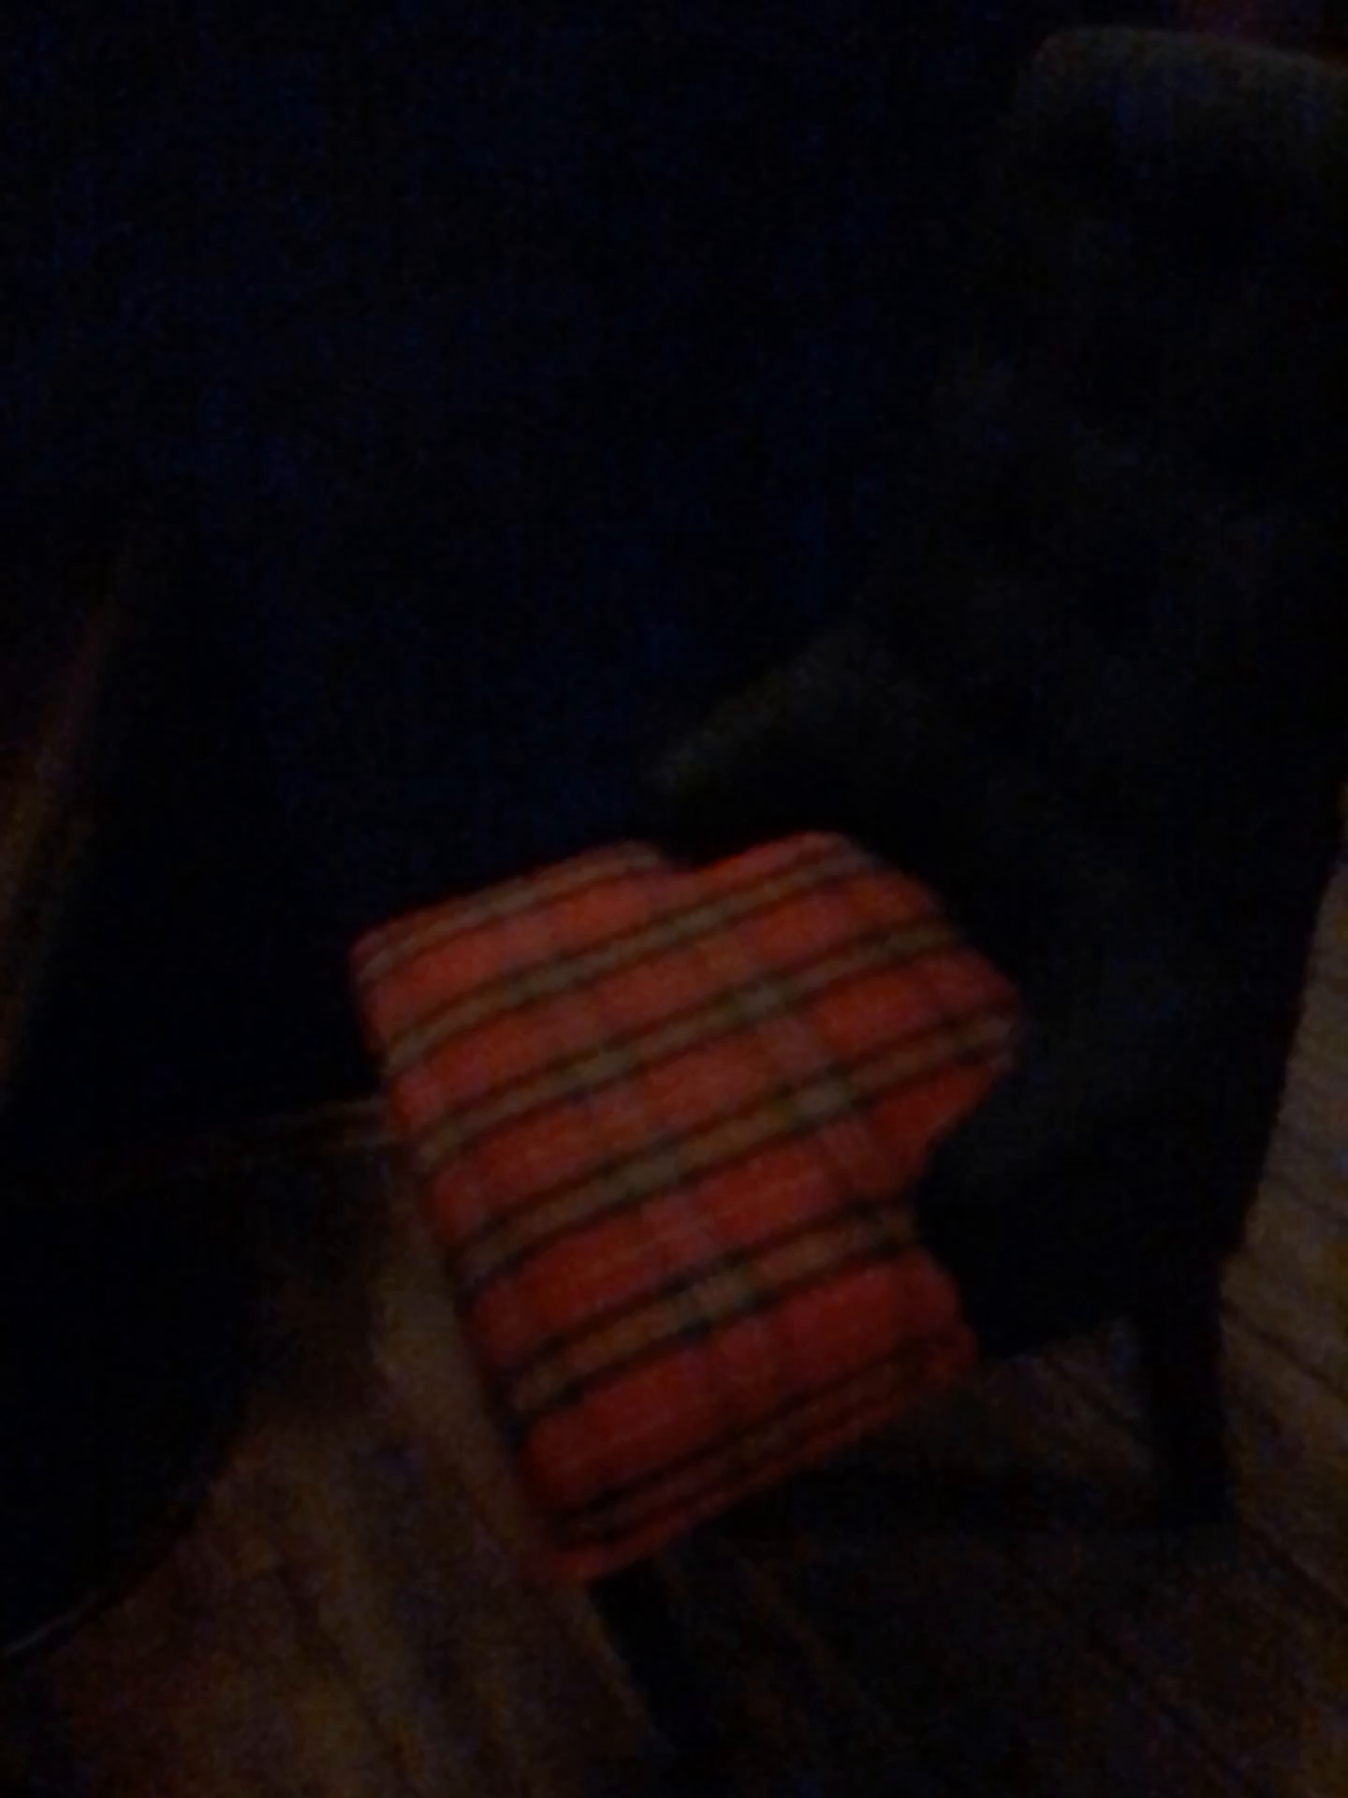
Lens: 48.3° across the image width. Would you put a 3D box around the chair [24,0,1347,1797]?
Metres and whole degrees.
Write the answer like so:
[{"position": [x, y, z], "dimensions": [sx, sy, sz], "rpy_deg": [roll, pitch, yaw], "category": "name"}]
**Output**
[{"position": [0.077, 0.034, 1.030], "dimensions": [0.611, 1.003, 0.523], "rpy_deg": [-20, 37, -12], "category": "chair"}]
